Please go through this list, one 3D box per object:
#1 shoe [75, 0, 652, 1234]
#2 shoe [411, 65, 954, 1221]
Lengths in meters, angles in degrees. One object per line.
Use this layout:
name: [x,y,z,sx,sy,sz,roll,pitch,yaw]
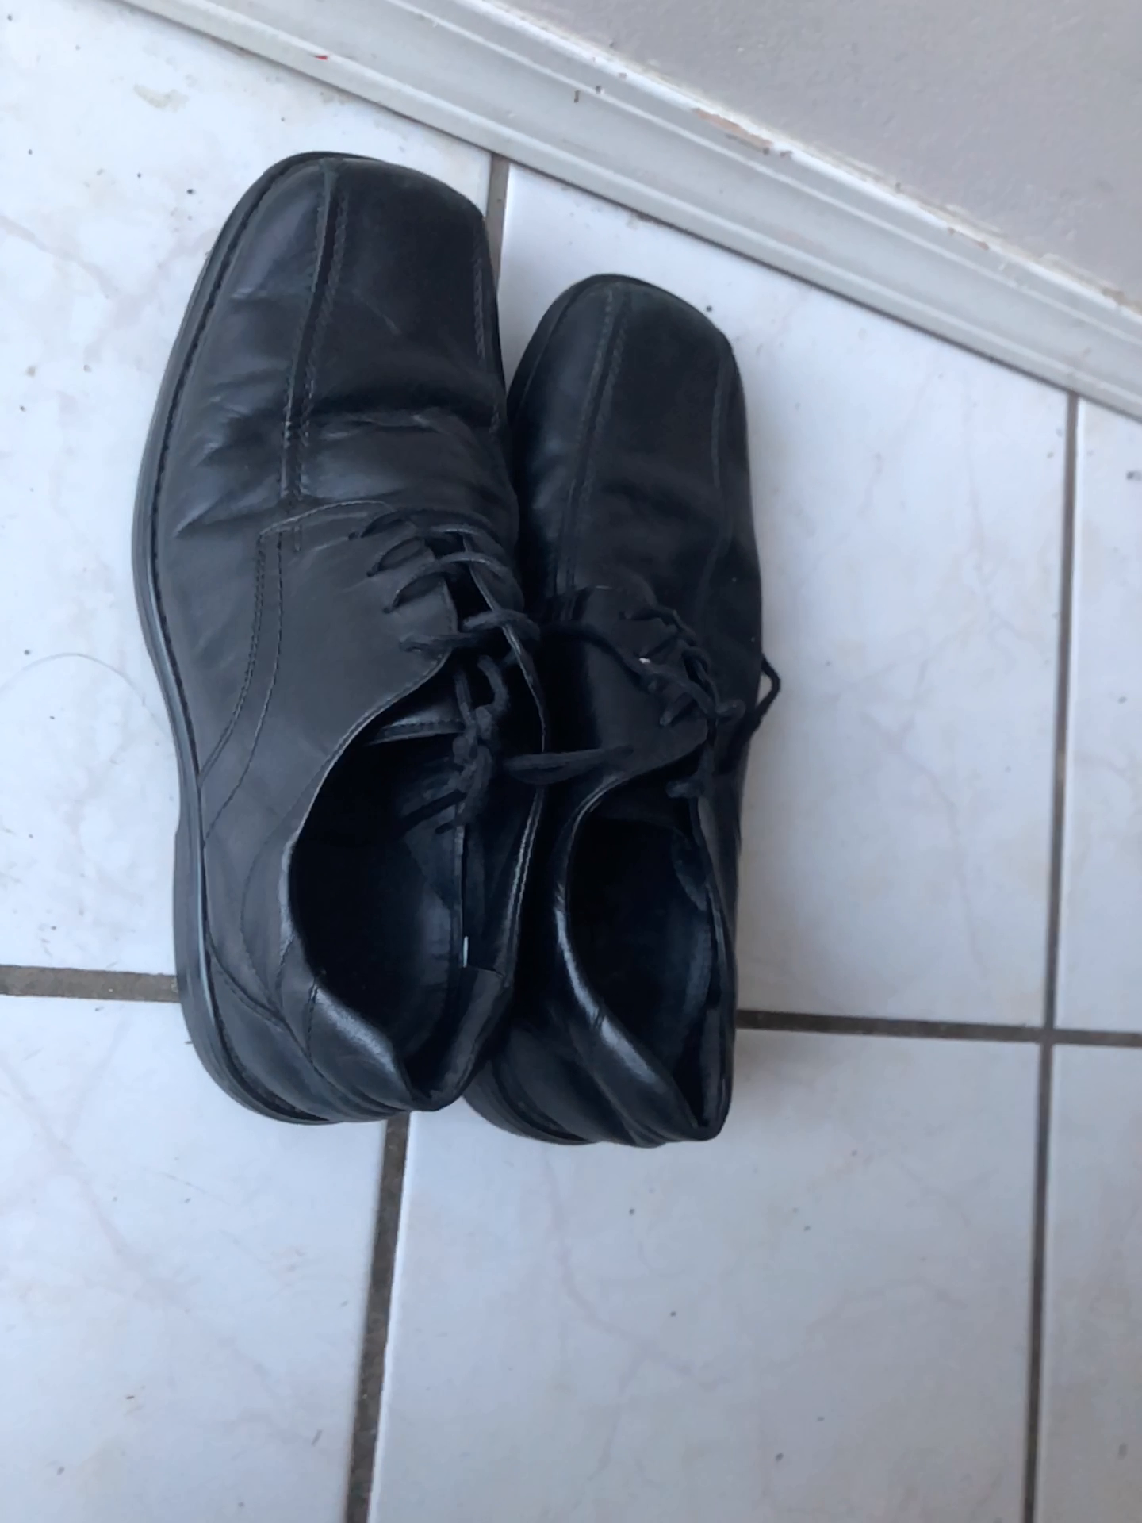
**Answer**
shoe: [-0.057,-0.042,0.342,0.120,0.100,0.290,3,85,-29]
shoe: [0.033,-0.027,0.380,0.110,0.100,0.290,7,83,-28]
